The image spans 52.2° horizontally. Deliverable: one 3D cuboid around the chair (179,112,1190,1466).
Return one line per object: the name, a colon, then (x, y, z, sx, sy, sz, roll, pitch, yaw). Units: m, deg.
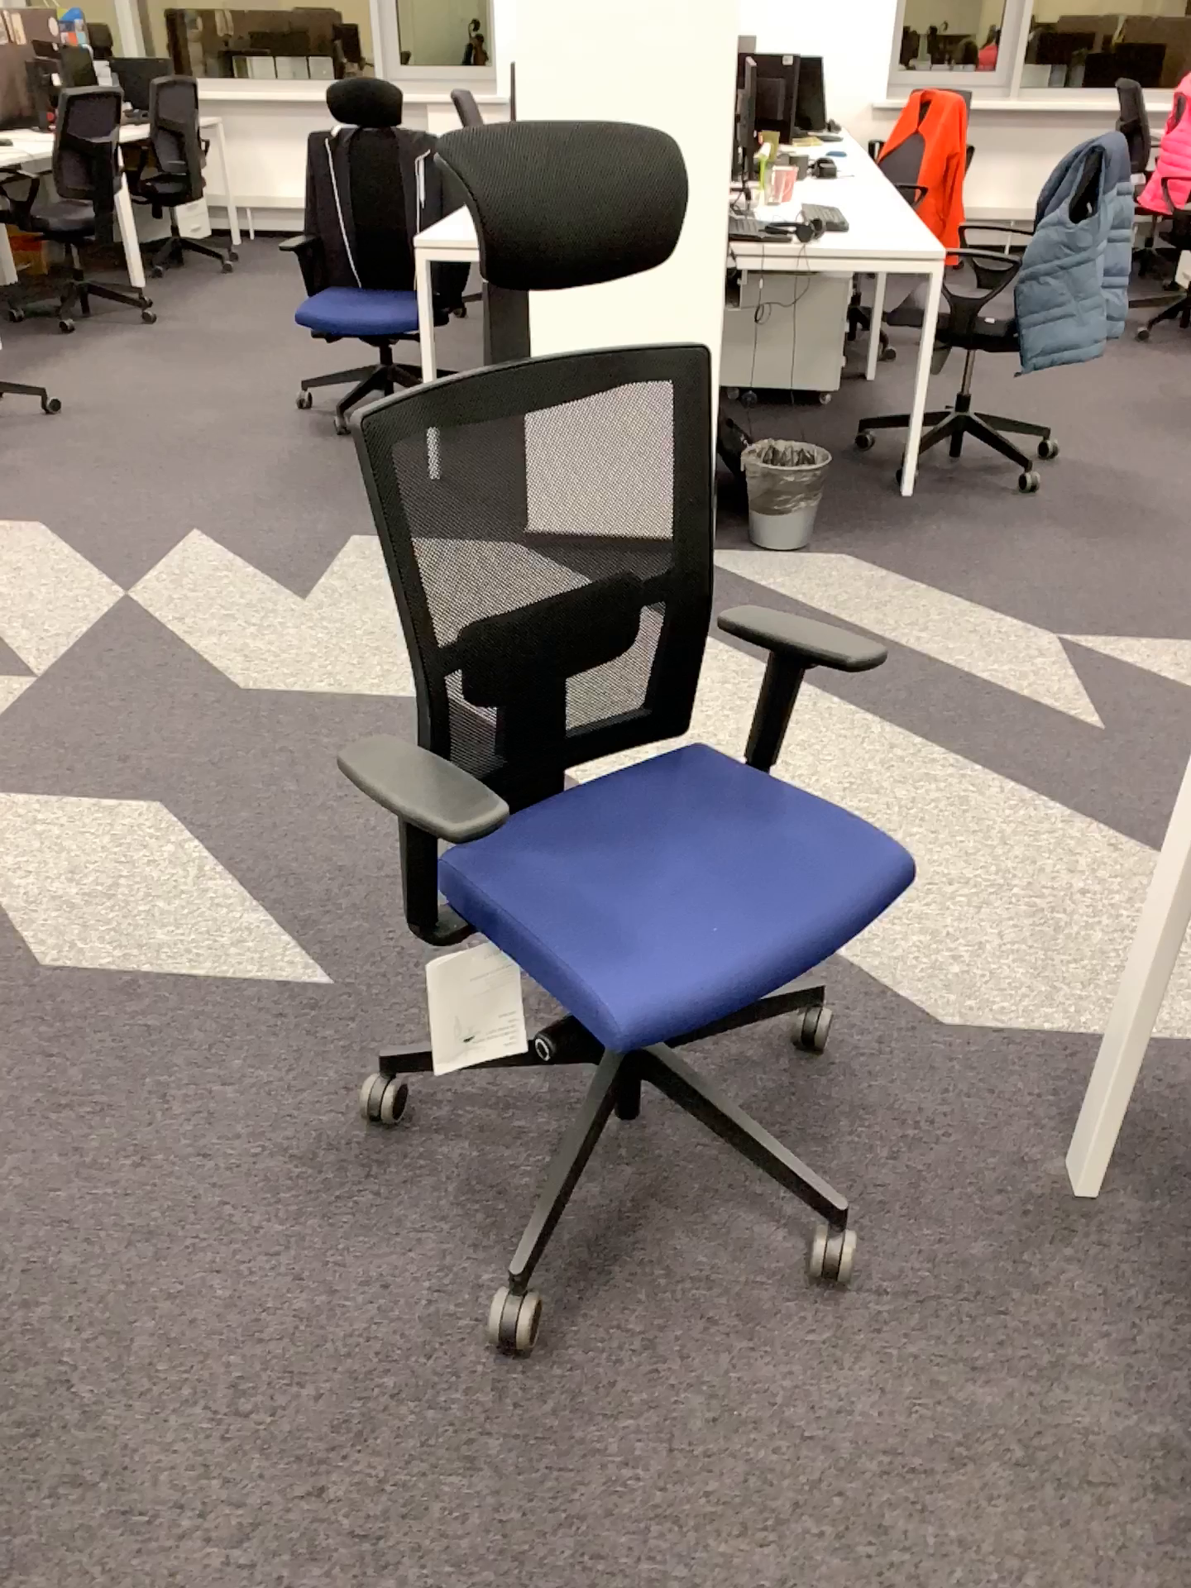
chair: (0.090, -0.045, 1.407, 0.732, 1.243, 0.672, -18, 37, -27)
